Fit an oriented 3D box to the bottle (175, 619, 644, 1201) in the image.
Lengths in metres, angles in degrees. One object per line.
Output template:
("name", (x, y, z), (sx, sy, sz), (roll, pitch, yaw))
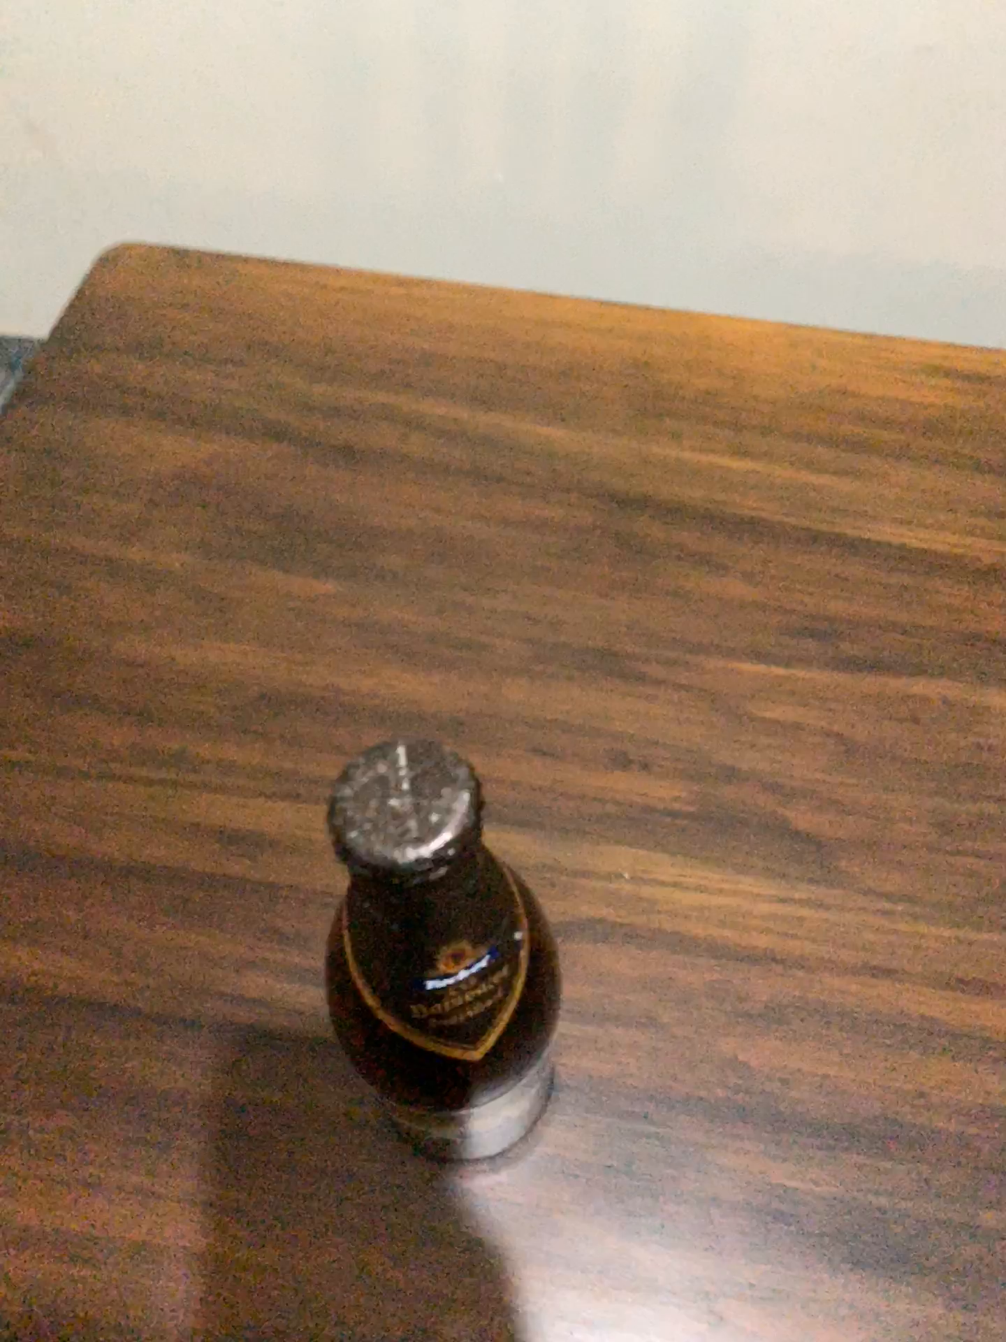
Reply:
("bottle", (-0.016, 0.096, 0.301), (0.070, 0.269, 0.060), (-19, 59, -10))
